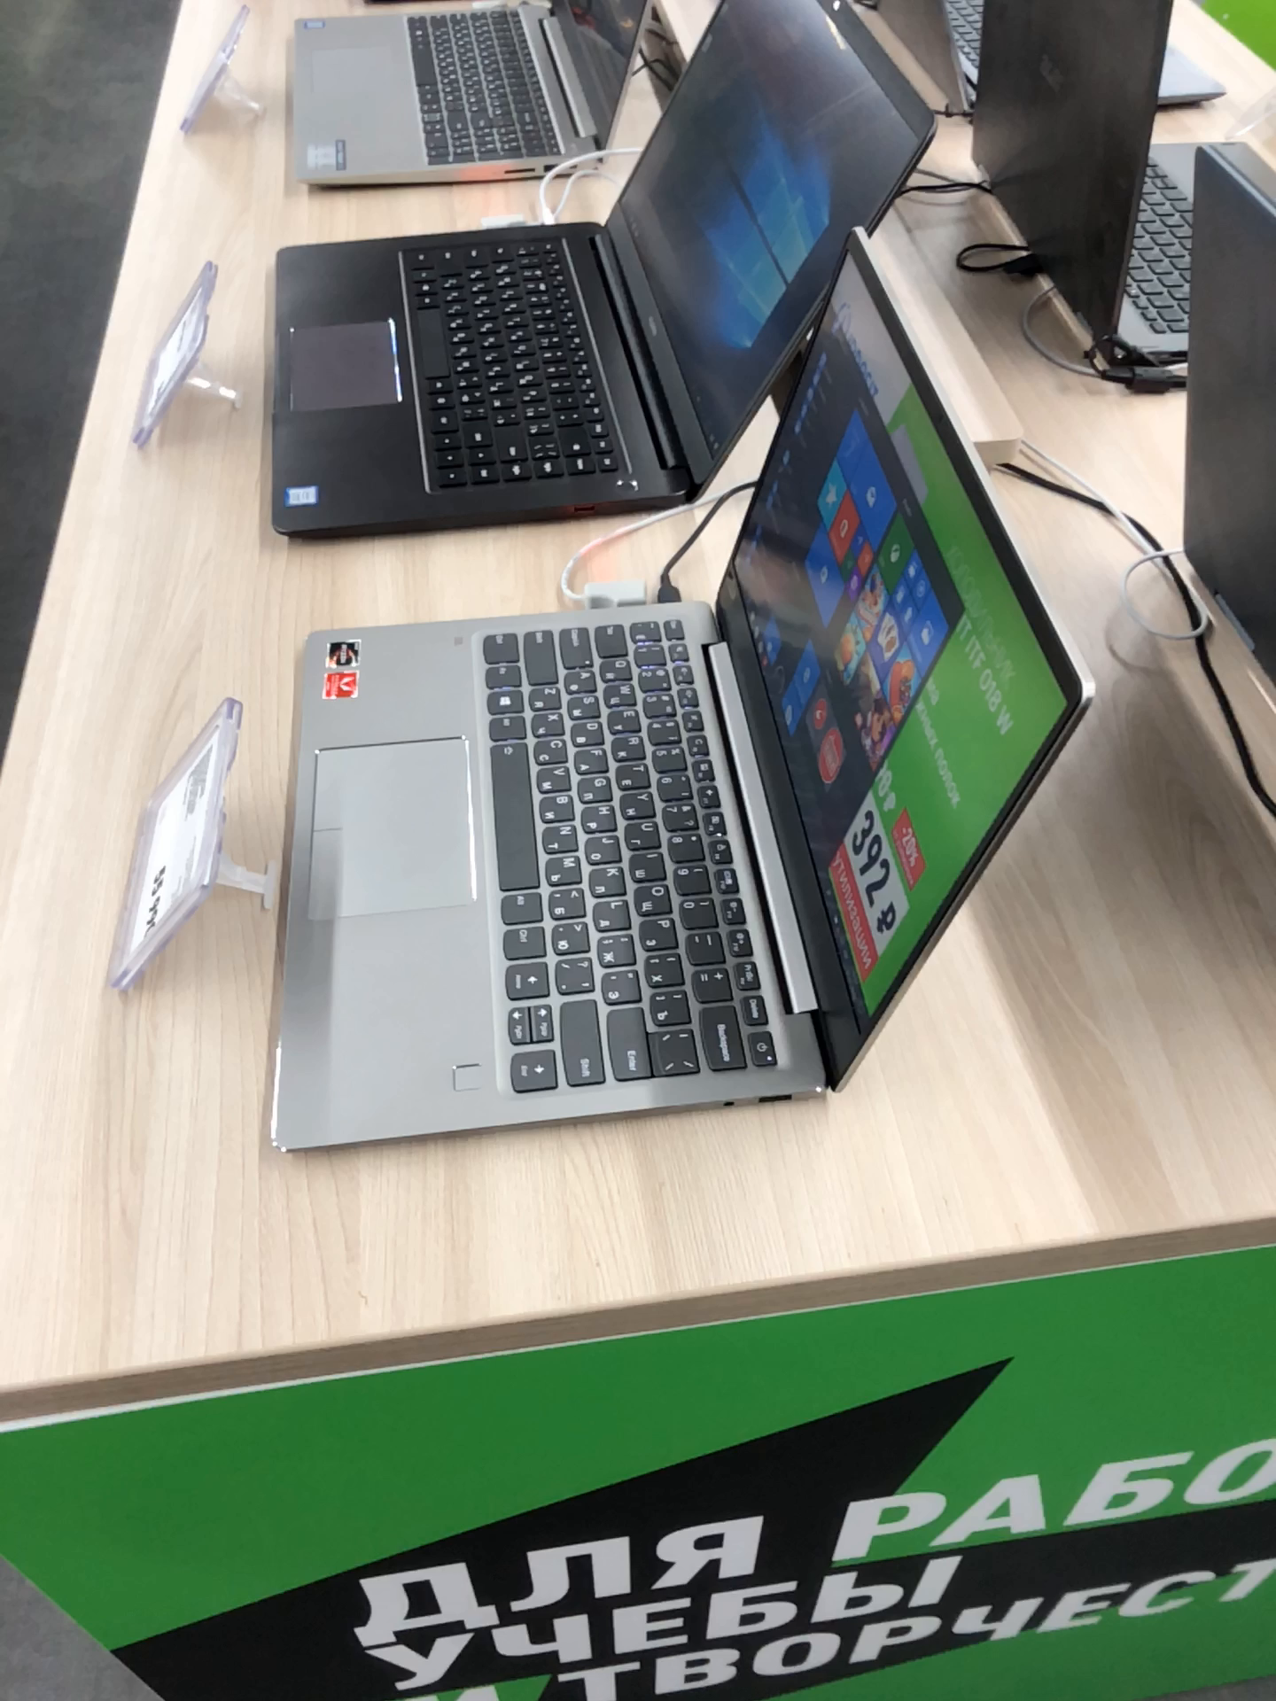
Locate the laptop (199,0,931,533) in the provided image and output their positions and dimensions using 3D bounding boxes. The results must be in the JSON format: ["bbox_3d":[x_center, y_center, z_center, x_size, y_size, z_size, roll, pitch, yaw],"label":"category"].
[{"bbox_3d":[-0.055,-0.385,0.829,0.339,0.188,0.346,-7,48,-5],"label":"laptop"}]

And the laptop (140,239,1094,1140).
[{"bbox_3d":[-0.019,-0.074,0.548,0.261,0.187,0.286,-5,48,-4],"label":"laptop"}]
